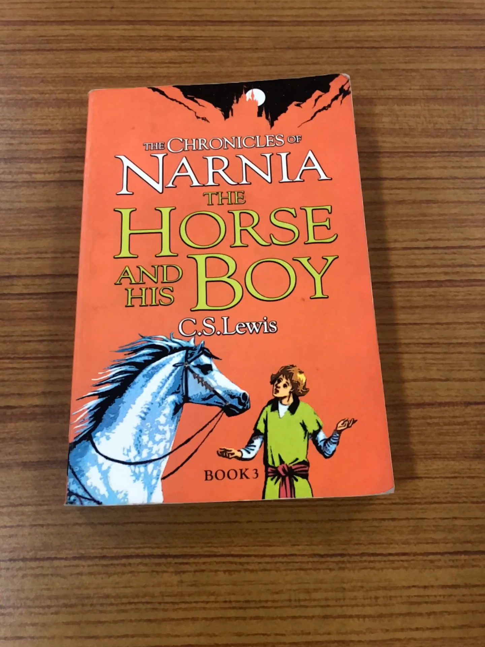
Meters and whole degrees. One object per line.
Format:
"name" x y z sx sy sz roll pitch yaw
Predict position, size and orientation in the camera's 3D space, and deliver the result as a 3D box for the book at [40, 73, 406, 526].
"book" -0.010 -0.017 0.235 0.130 0.030 0.190 -2 74 -1
